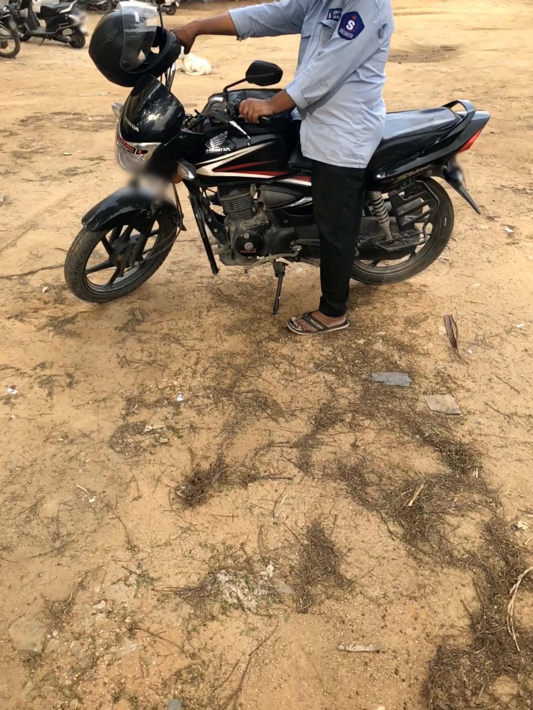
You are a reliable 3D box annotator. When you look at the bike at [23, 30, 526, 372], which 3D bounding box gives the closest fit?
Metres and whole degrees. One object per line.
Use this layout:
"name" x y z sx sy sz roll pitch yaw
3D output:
"bike" -0.012 -0.625 2.317 1.562 0.913 0.673 -8 34 -3
